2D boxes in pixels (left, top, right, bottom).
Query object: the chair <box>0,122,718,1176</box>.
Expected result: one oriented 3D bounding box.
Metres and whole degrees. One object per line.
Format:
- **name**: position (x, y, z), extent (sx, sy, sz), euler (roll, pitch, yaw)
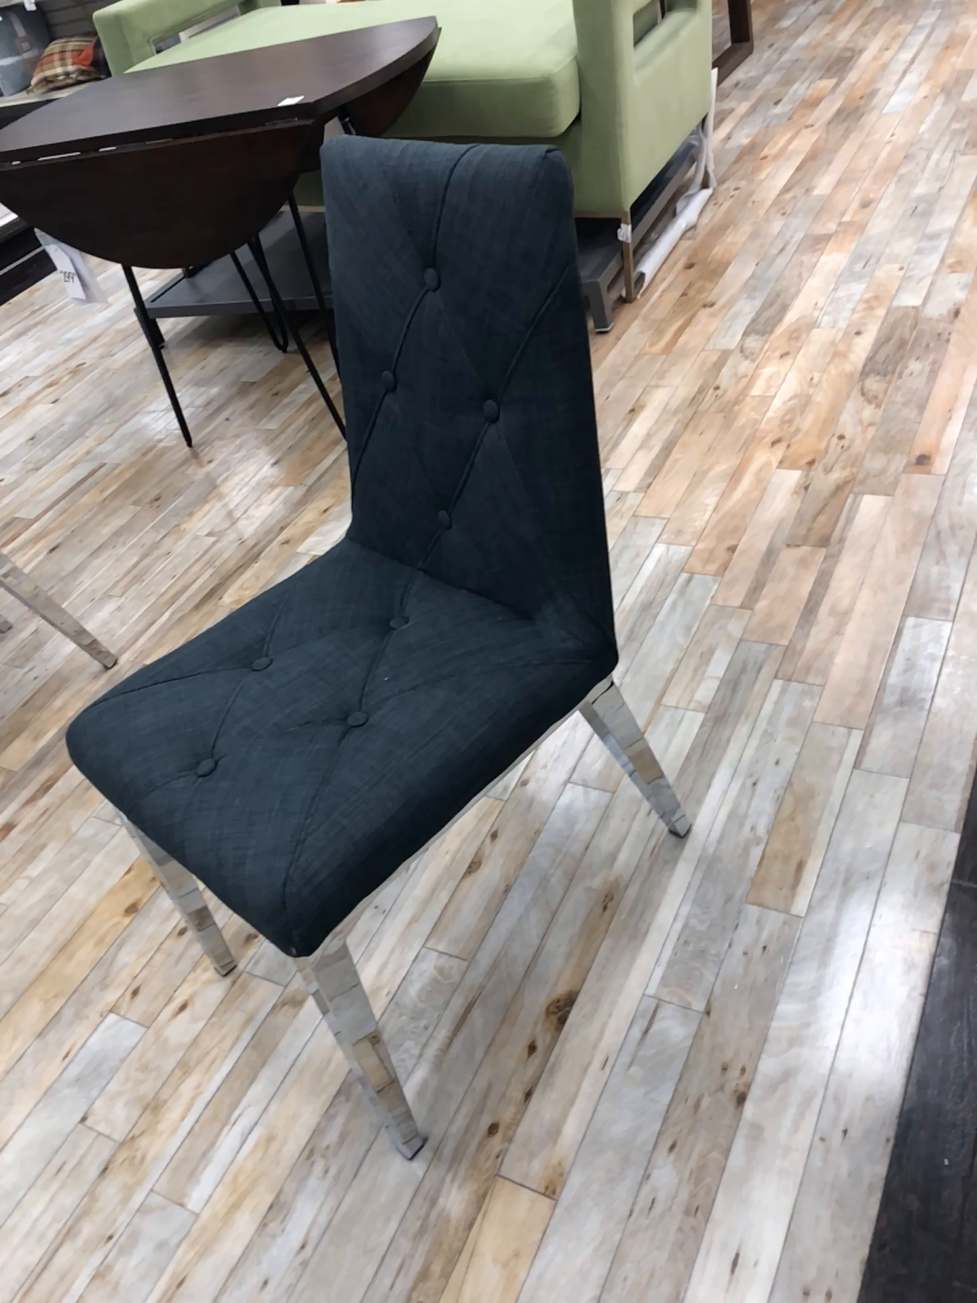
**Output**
- **chair**: position (-0.152, -0.005, 1.155), extent (0.580, 0.866, 0.452), euler (-40, 44, -26)
